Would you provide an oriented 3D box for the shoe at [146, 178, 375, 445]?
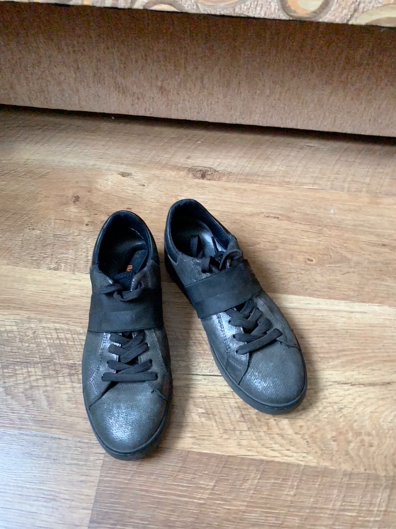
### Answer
[{"bbox_3d":[0.047,0.037,0.438,0.100,0.090,0.261,-23,58,-16],"label":"shoe"}]

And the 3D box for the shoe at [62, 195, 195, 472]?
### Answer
[{"bbox_3d":[-0.065,0.057,0.418,0.100,0.090,0.261,-4,55,-4],"label":"shoe"}]
